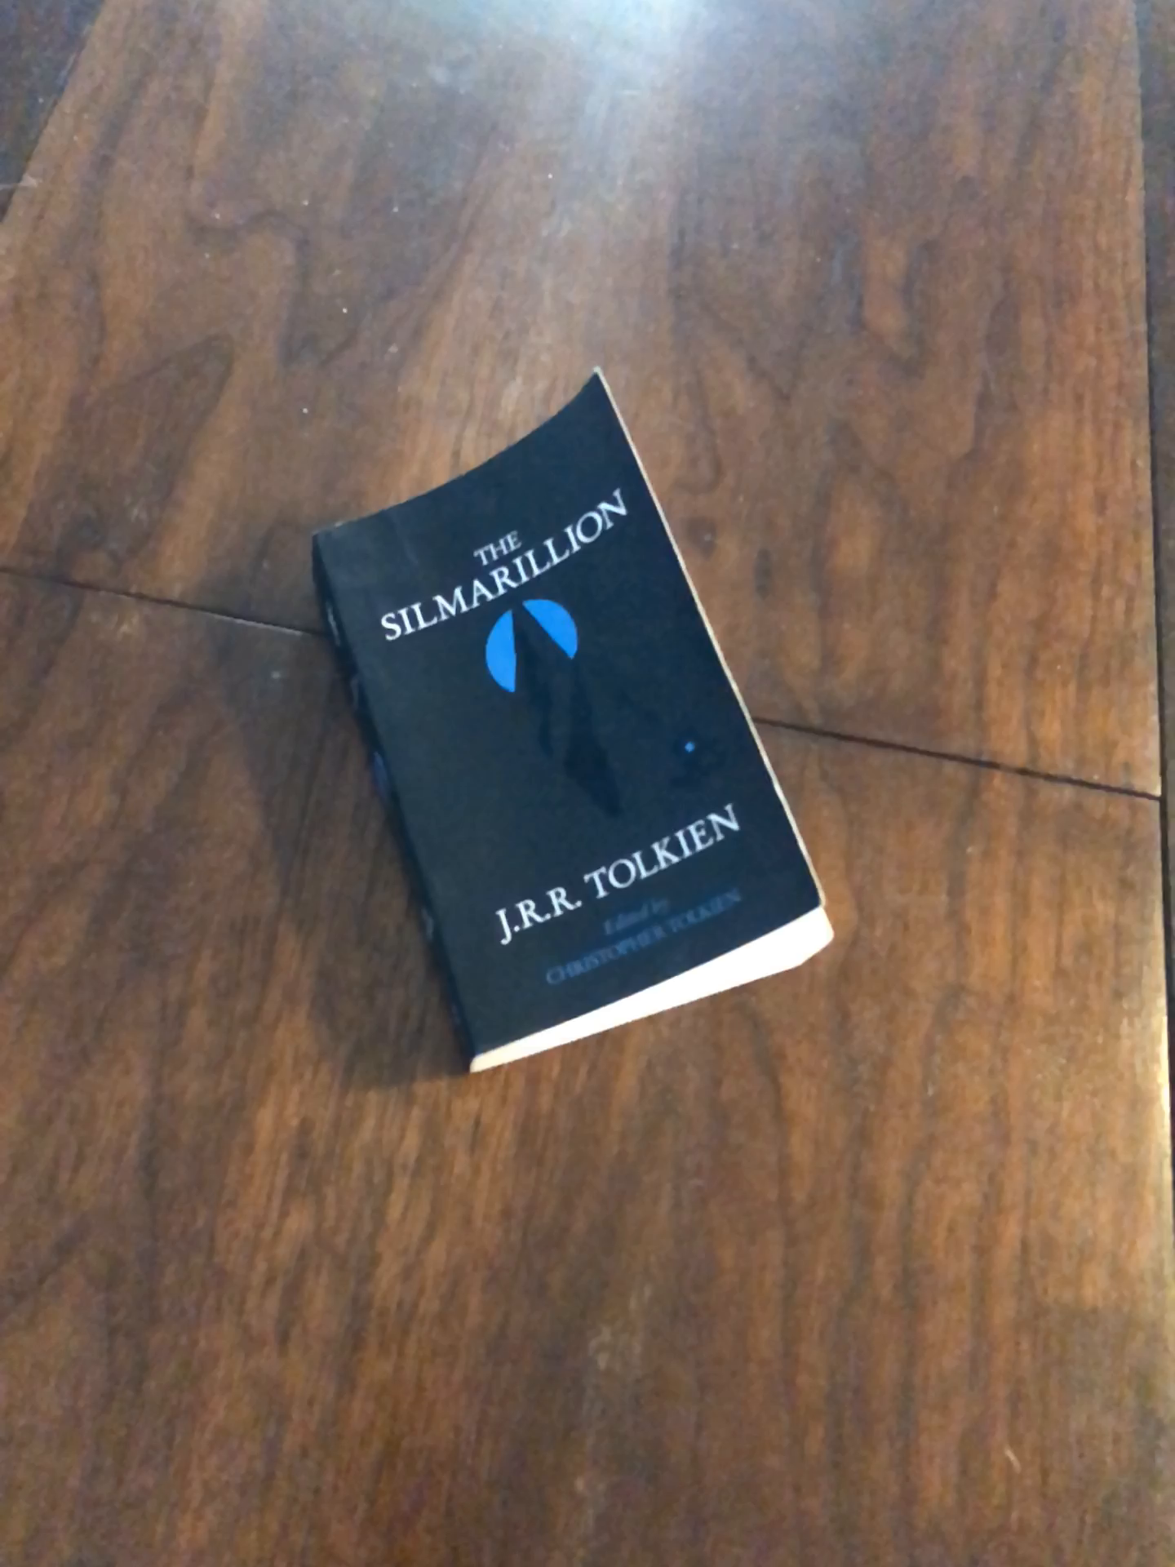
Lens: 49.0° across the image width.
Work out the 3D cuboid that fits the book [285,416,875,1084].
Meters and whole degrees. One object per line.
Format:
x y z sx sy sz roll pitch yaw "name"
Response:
-0.008 -0.017 0.397 0.119 0.040 0.180 -17 70 -14 "book"
